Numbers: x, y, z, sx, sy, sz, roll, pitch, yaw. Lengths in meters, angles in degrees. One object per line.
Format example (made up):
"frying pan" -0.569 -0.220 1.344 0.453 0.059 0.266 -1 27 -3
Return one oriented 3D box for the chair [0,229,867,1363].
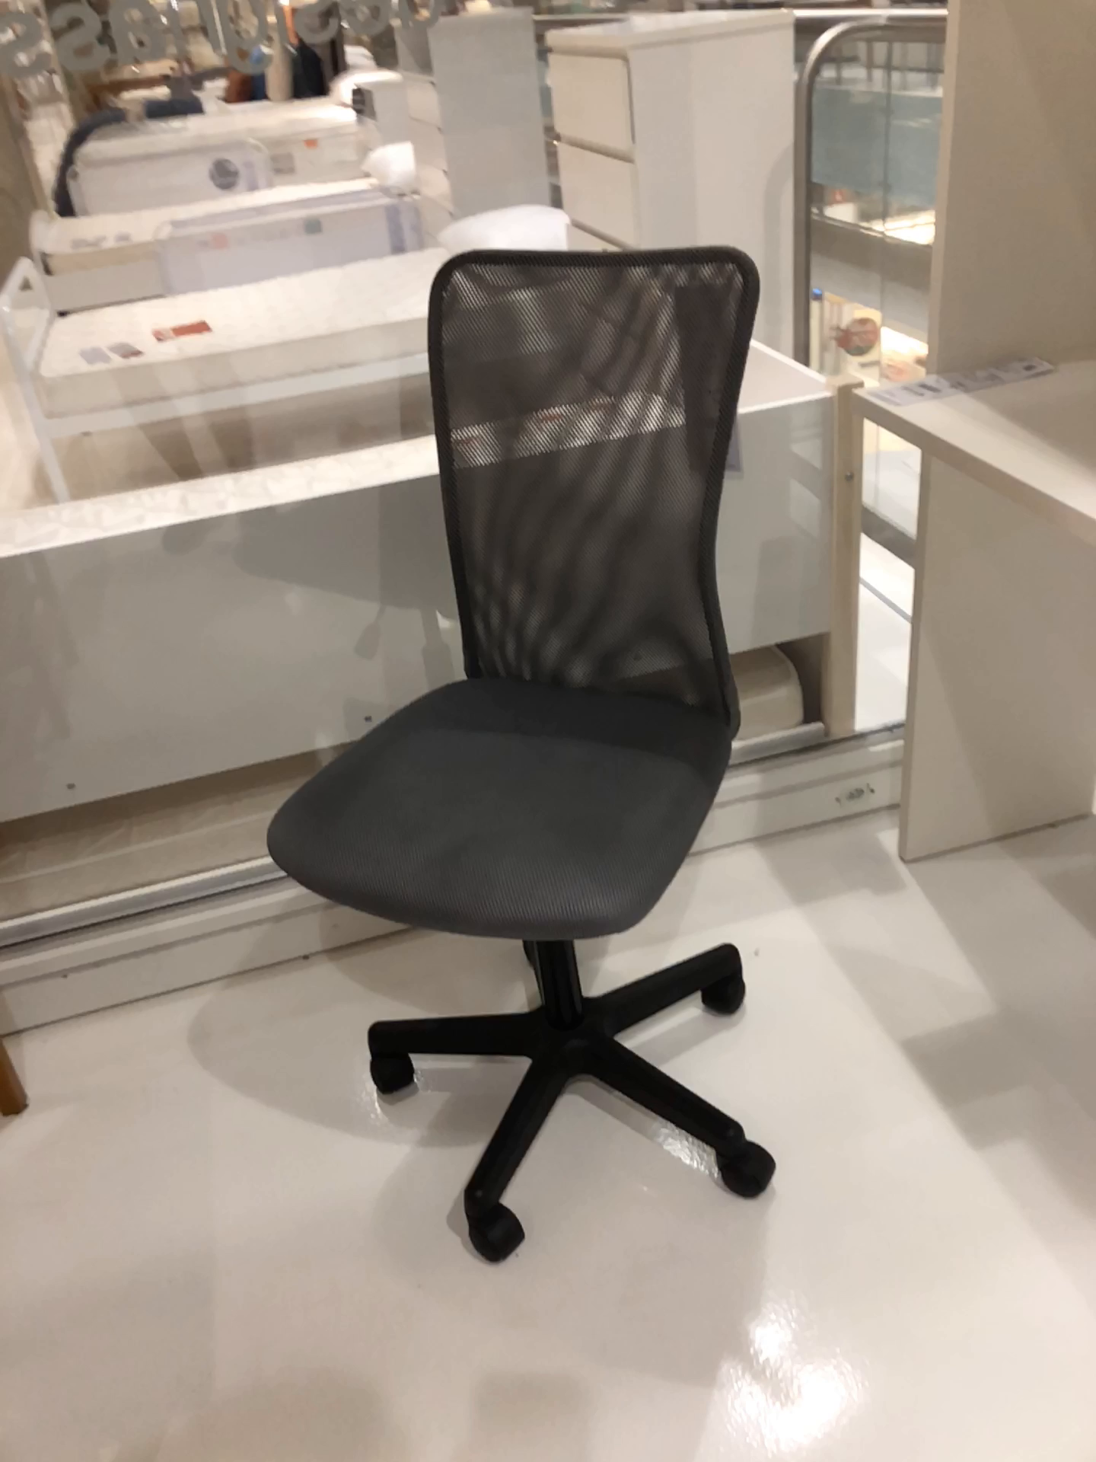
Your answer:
"chair" -0.027 0.029 1.289 0.581 0.933 0.604 8 34 24
